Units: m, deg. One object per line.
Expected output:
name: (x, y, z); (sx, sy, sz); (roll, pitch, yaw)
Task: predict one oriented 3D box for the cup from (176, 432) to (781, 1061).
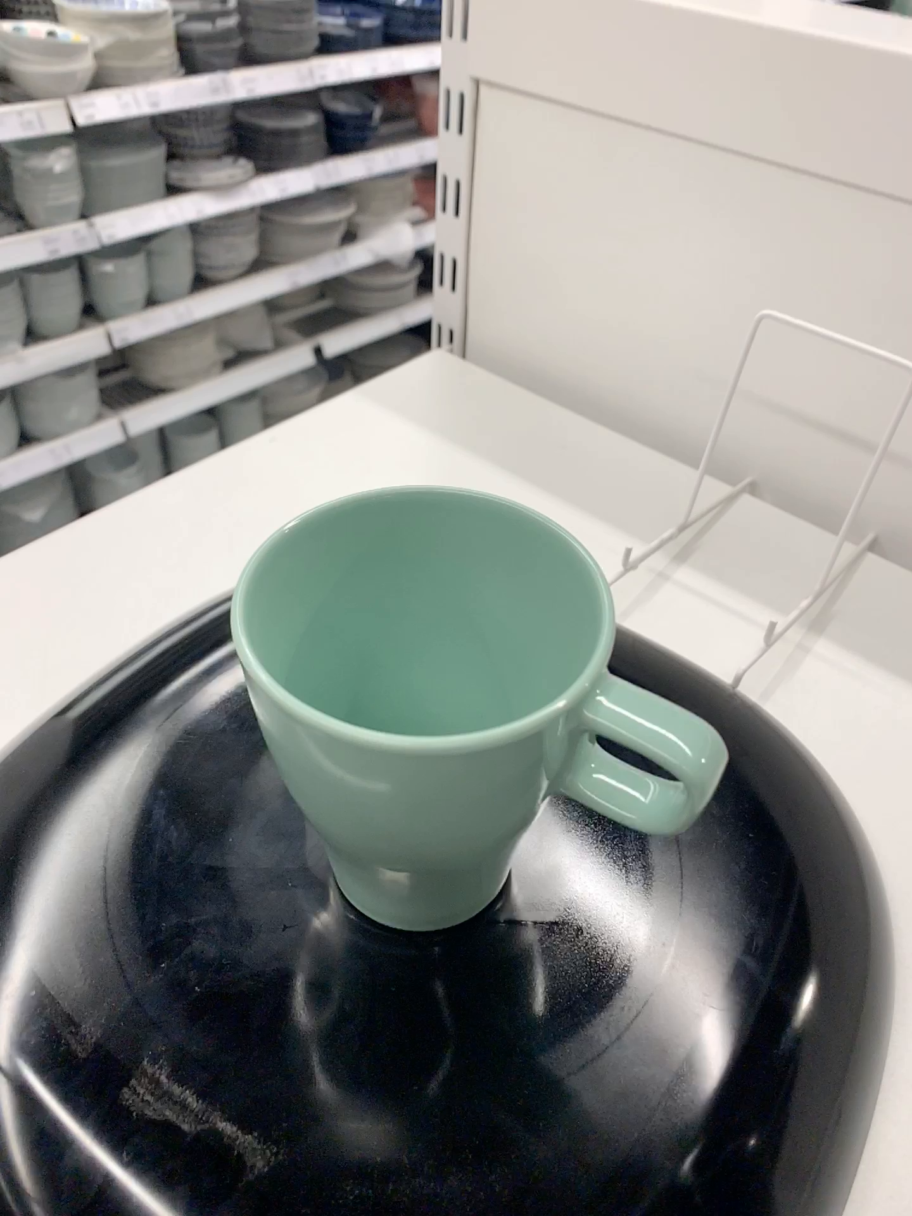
cup: (0.007, 0.031, 0.237); (0.110, 0.100, 0.080); (17, 42, 14)
